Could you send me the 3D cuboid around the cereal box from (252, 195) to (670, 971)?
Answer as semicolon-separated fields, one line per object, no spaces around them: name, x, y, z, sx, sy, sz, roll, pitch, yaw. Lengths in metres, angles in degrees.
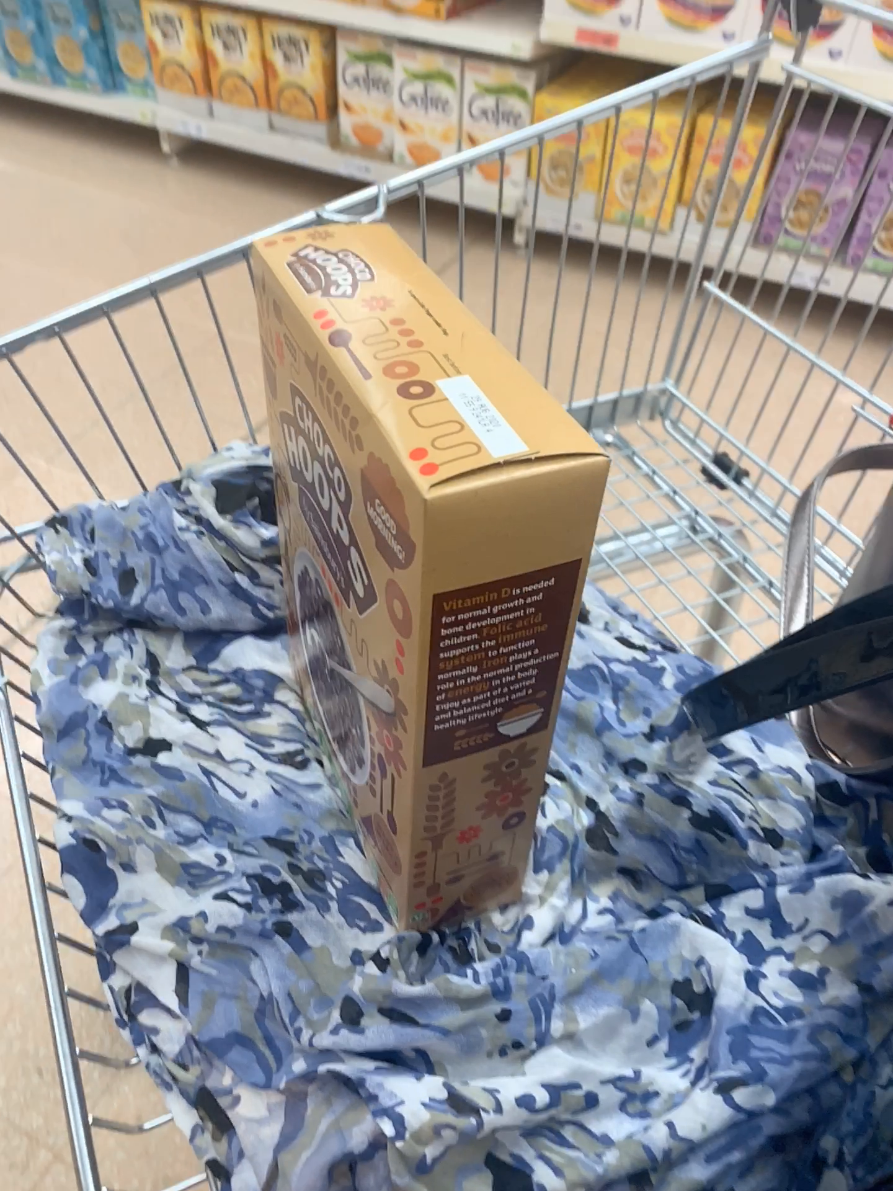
cereal box;-0.018;0.002;0.444;0.070;0.297;0.222;-15;47;-20
